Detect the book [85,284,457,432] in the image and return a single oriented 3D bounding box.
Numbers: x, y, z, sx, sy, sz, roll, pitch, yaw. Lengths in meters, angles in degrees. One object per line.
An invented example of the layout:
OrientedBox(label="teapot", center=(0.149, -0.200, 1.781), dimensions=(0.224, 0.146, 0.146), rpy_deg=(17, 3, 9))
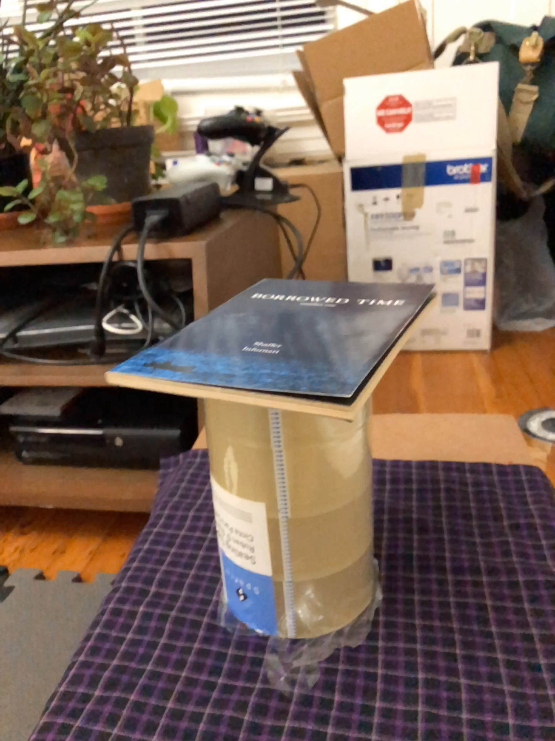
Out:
OrientedBox(label="book", center=(0.016, -0.024, 0.403), dimensions=(0.160, 0.010, 0.231), rpy_deg=(6, 22, 24))
